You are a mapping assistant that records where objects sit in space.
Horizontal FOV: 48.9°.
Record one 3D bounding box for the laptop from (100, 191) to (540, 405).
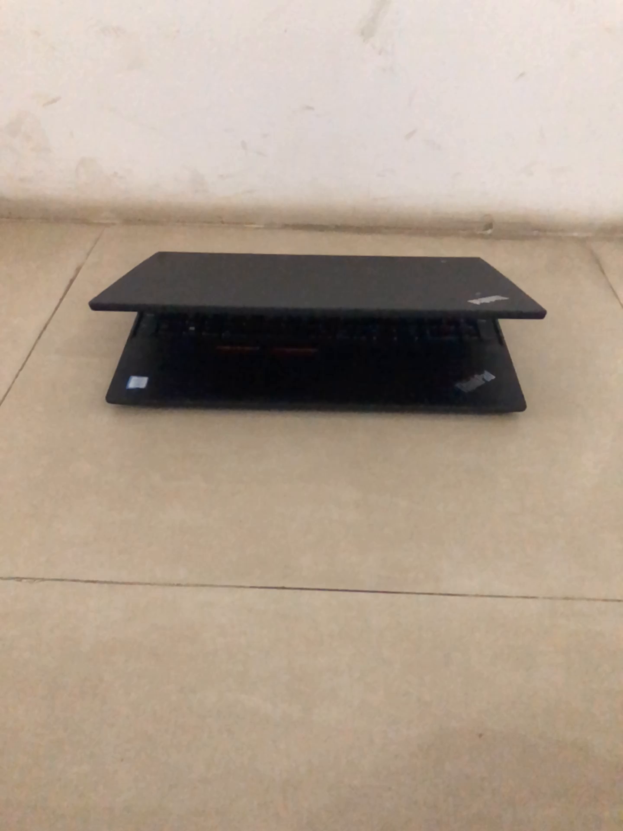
[{"bbox_3d":[0.007,-0.122,0.652,0.349,0.071,0.238,1,44,1],"label":"laptop"}]
